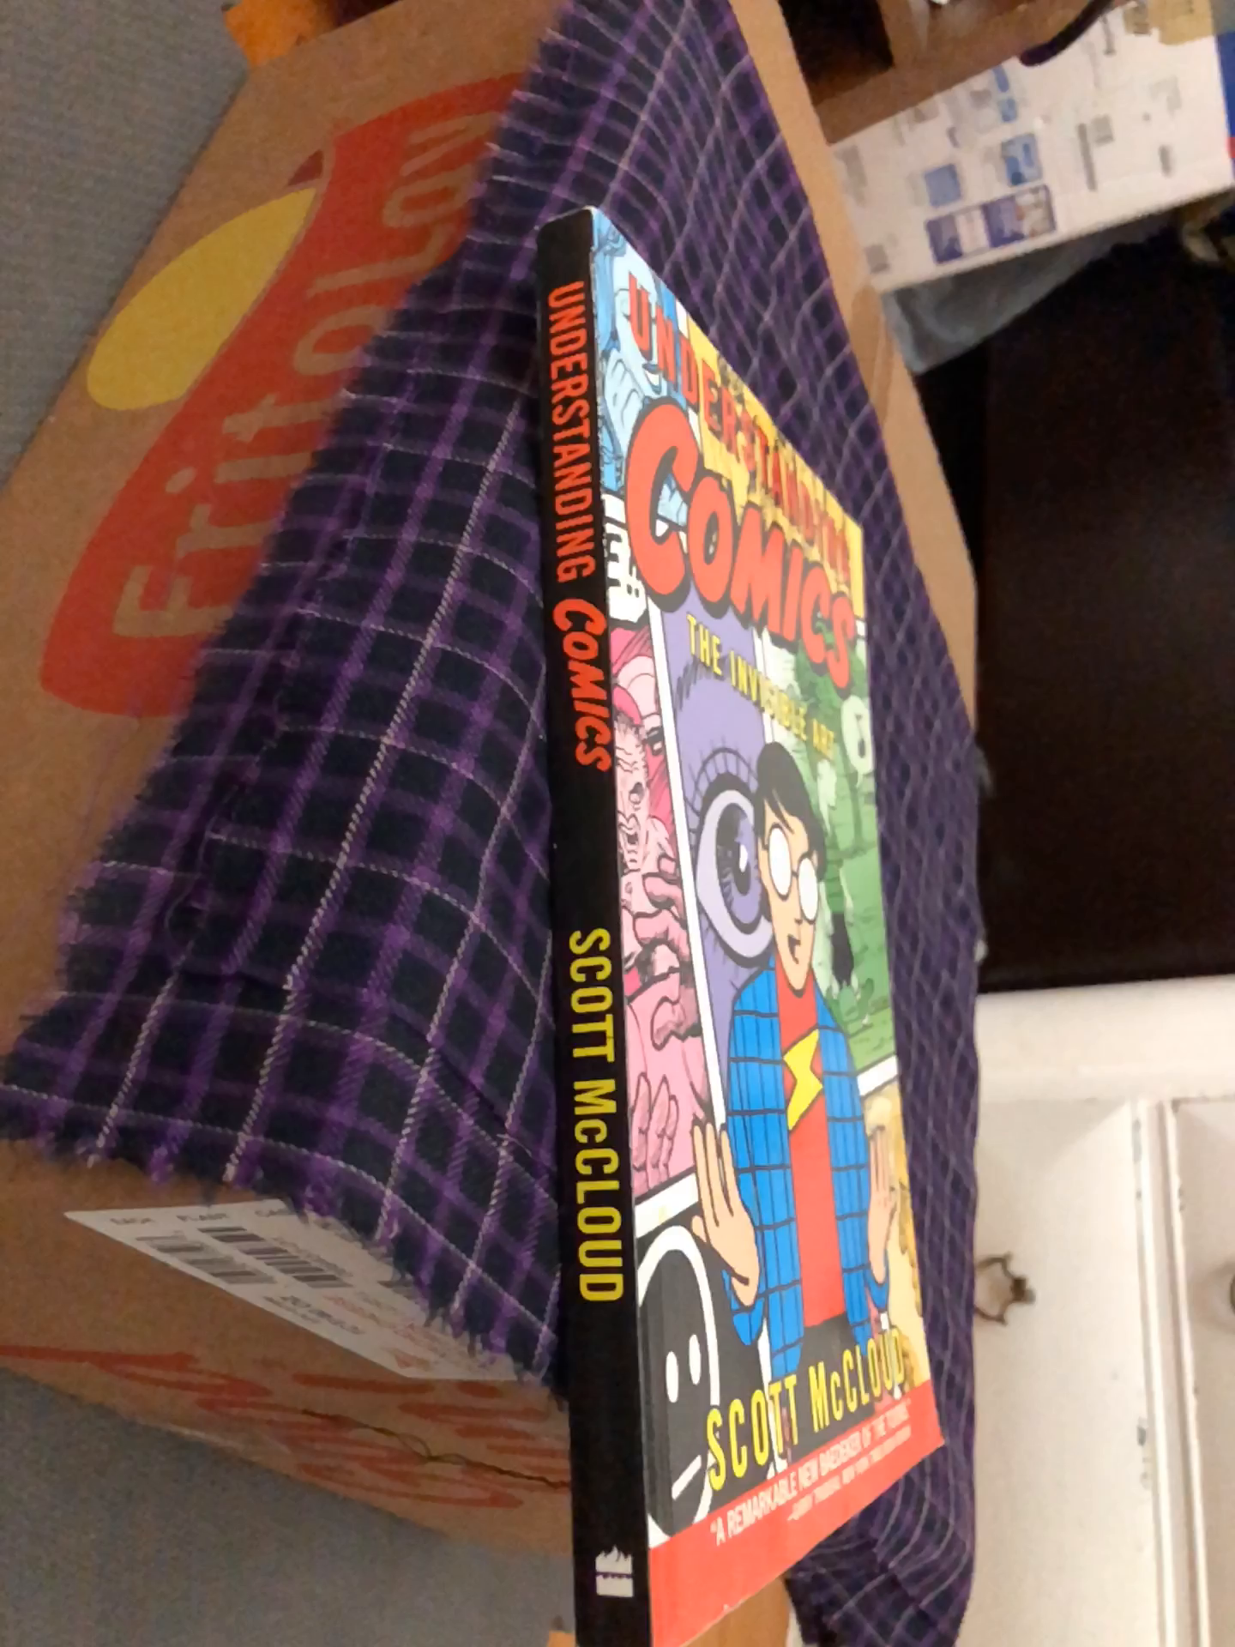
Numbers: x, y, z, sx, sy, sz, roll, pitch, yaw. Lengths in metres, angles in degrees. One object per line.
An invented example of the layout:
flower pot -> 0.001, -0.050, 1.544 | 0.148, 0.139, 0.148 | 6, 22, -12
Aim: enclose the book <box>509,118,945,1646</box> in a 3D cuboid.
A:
book -> 0.030, 0.014, 0.308 | 0.171, 0.020, 0.270 | 24, 61, -61
